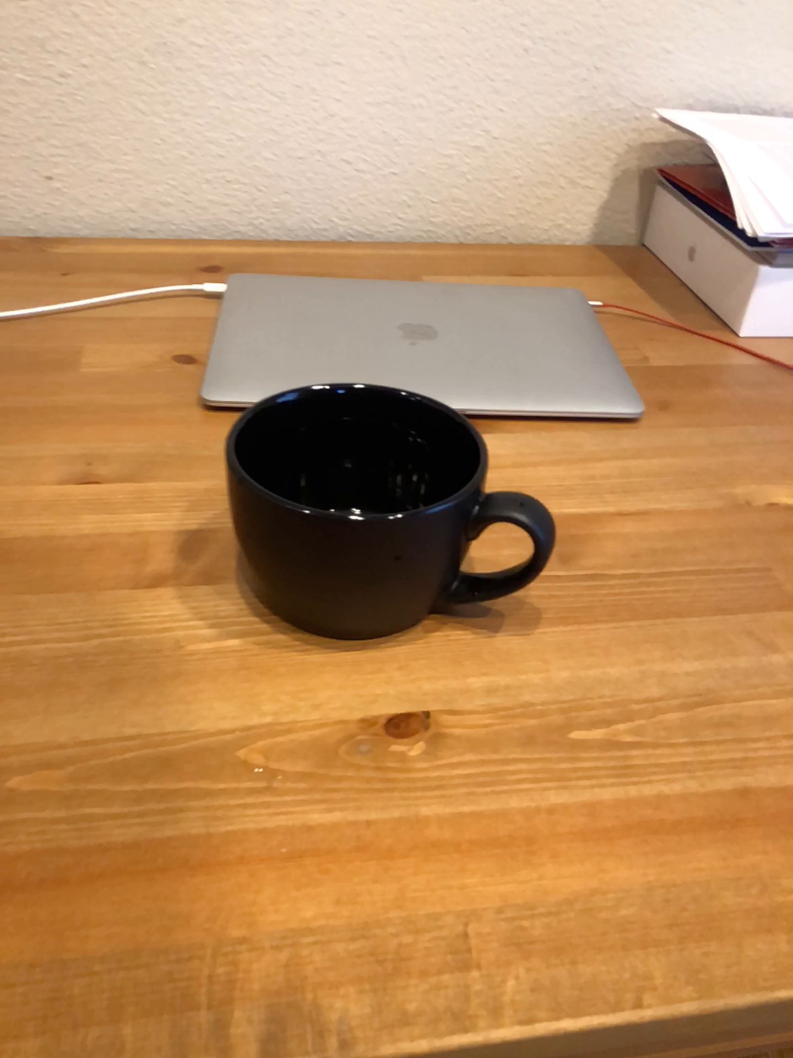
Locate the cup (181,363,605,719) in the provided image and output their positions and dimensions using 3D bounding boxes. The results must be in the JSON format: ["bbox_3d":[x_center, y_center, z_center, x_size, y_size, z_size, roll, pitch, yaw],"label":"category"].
[{"bbox_3d":[0.002,-0.003,0.420,0.160,0.080,0.121,15,37,14],"label":"cup"}]
